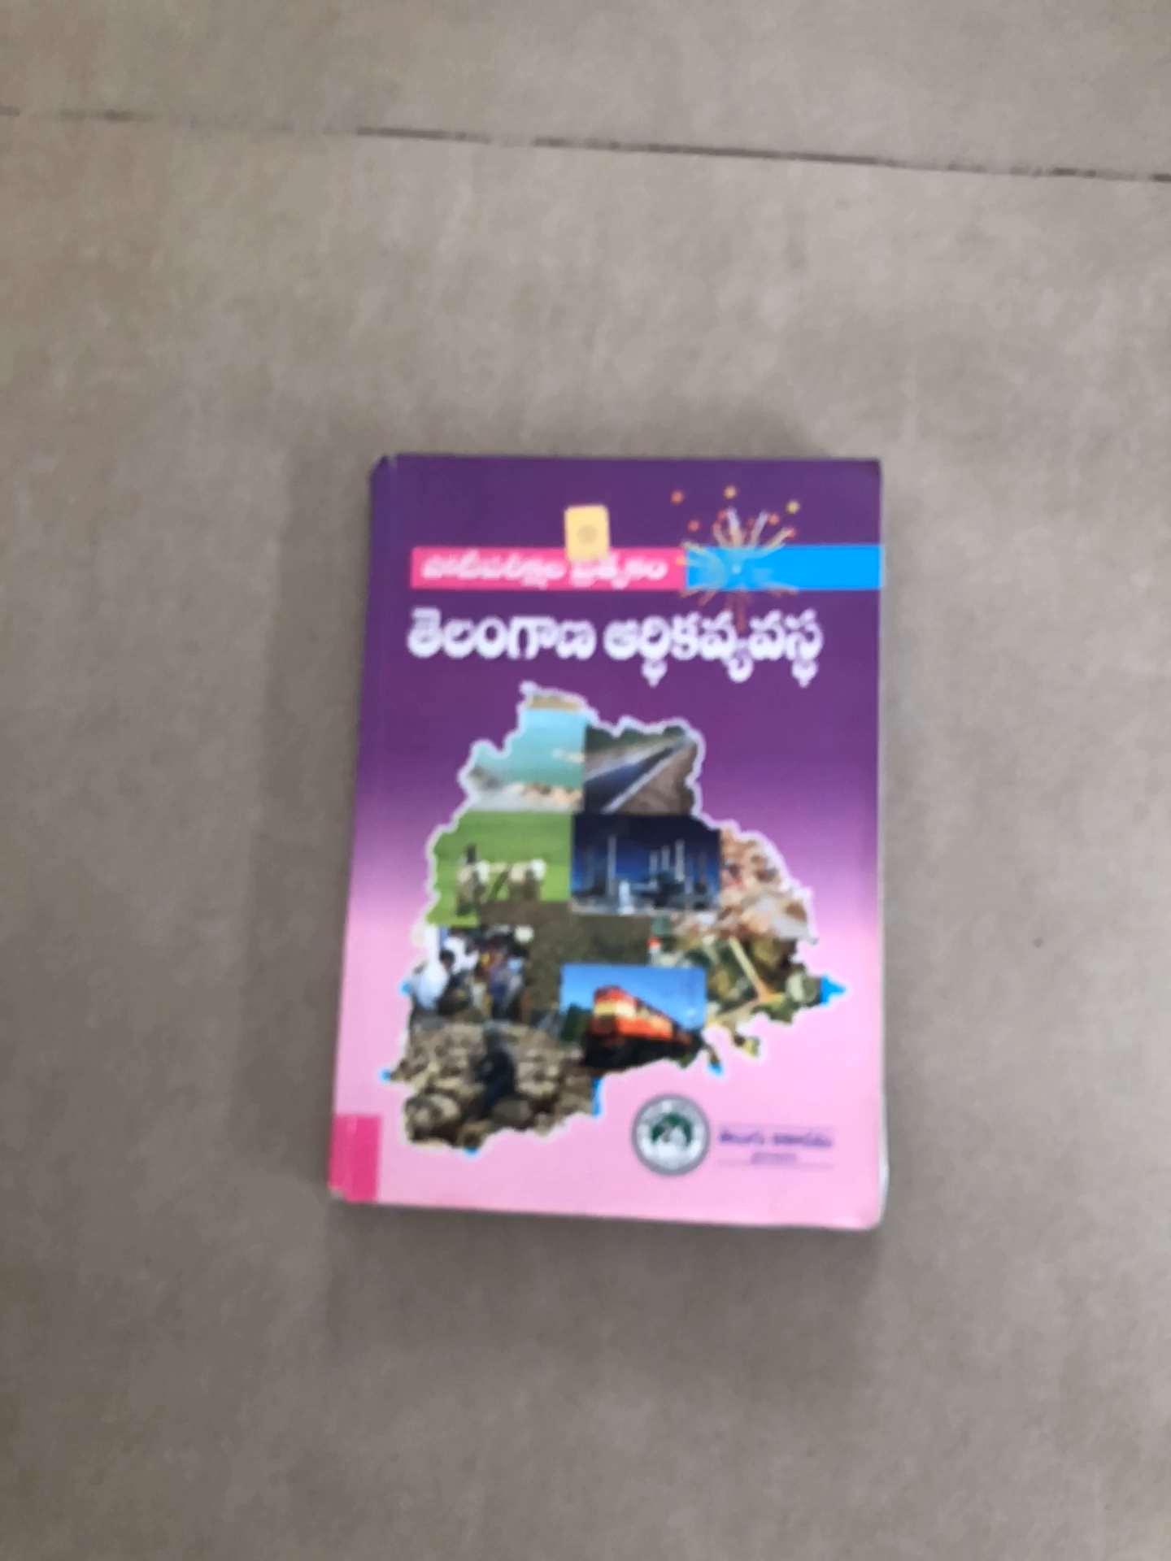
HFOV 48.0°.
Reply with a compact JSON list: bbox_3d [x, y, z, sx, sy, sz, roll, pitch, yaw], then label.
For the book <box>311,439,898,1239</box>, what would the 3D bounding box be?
[{"bbox_3d":[0.009,0.016,0.471,0.191,0.040,0.268,2,84,4],"label":"book"}]
